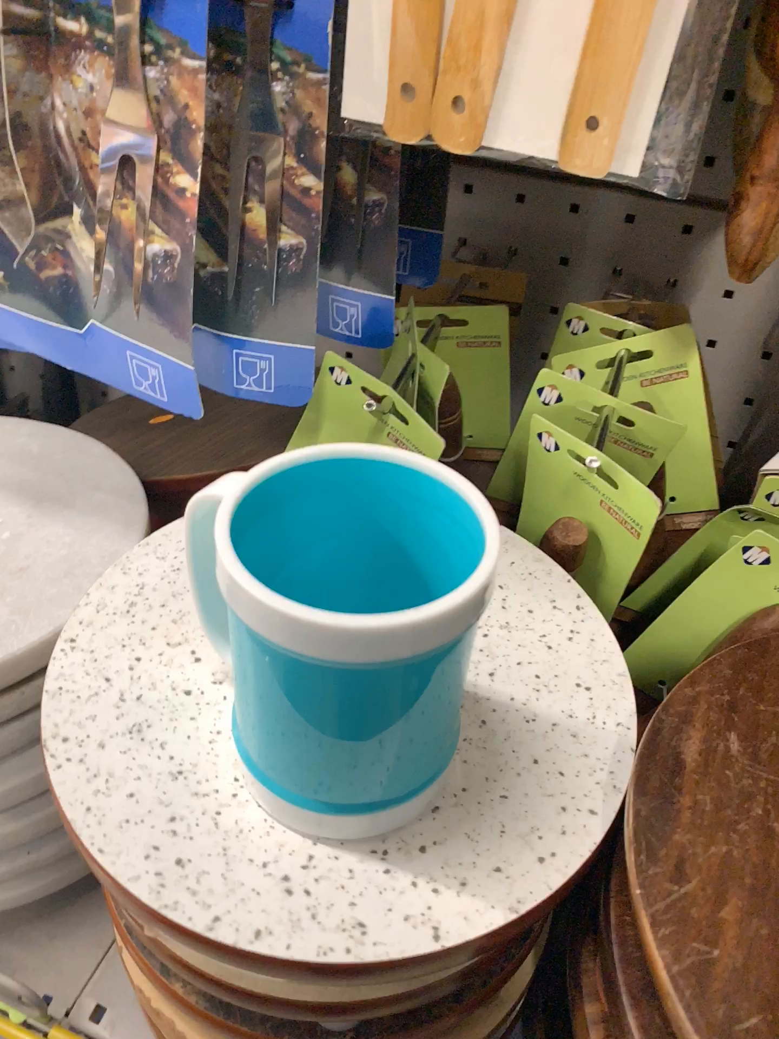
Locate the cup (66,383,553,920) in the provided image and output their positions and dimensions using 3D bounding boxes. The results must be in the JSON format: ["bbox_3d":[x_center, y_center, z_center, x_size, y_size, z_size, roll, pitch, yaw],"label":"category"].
[{"bbox_3d":[-0.025,0.037,0.258,0.110,0.110,0.080,26,42,24],"label":"cup"}]
